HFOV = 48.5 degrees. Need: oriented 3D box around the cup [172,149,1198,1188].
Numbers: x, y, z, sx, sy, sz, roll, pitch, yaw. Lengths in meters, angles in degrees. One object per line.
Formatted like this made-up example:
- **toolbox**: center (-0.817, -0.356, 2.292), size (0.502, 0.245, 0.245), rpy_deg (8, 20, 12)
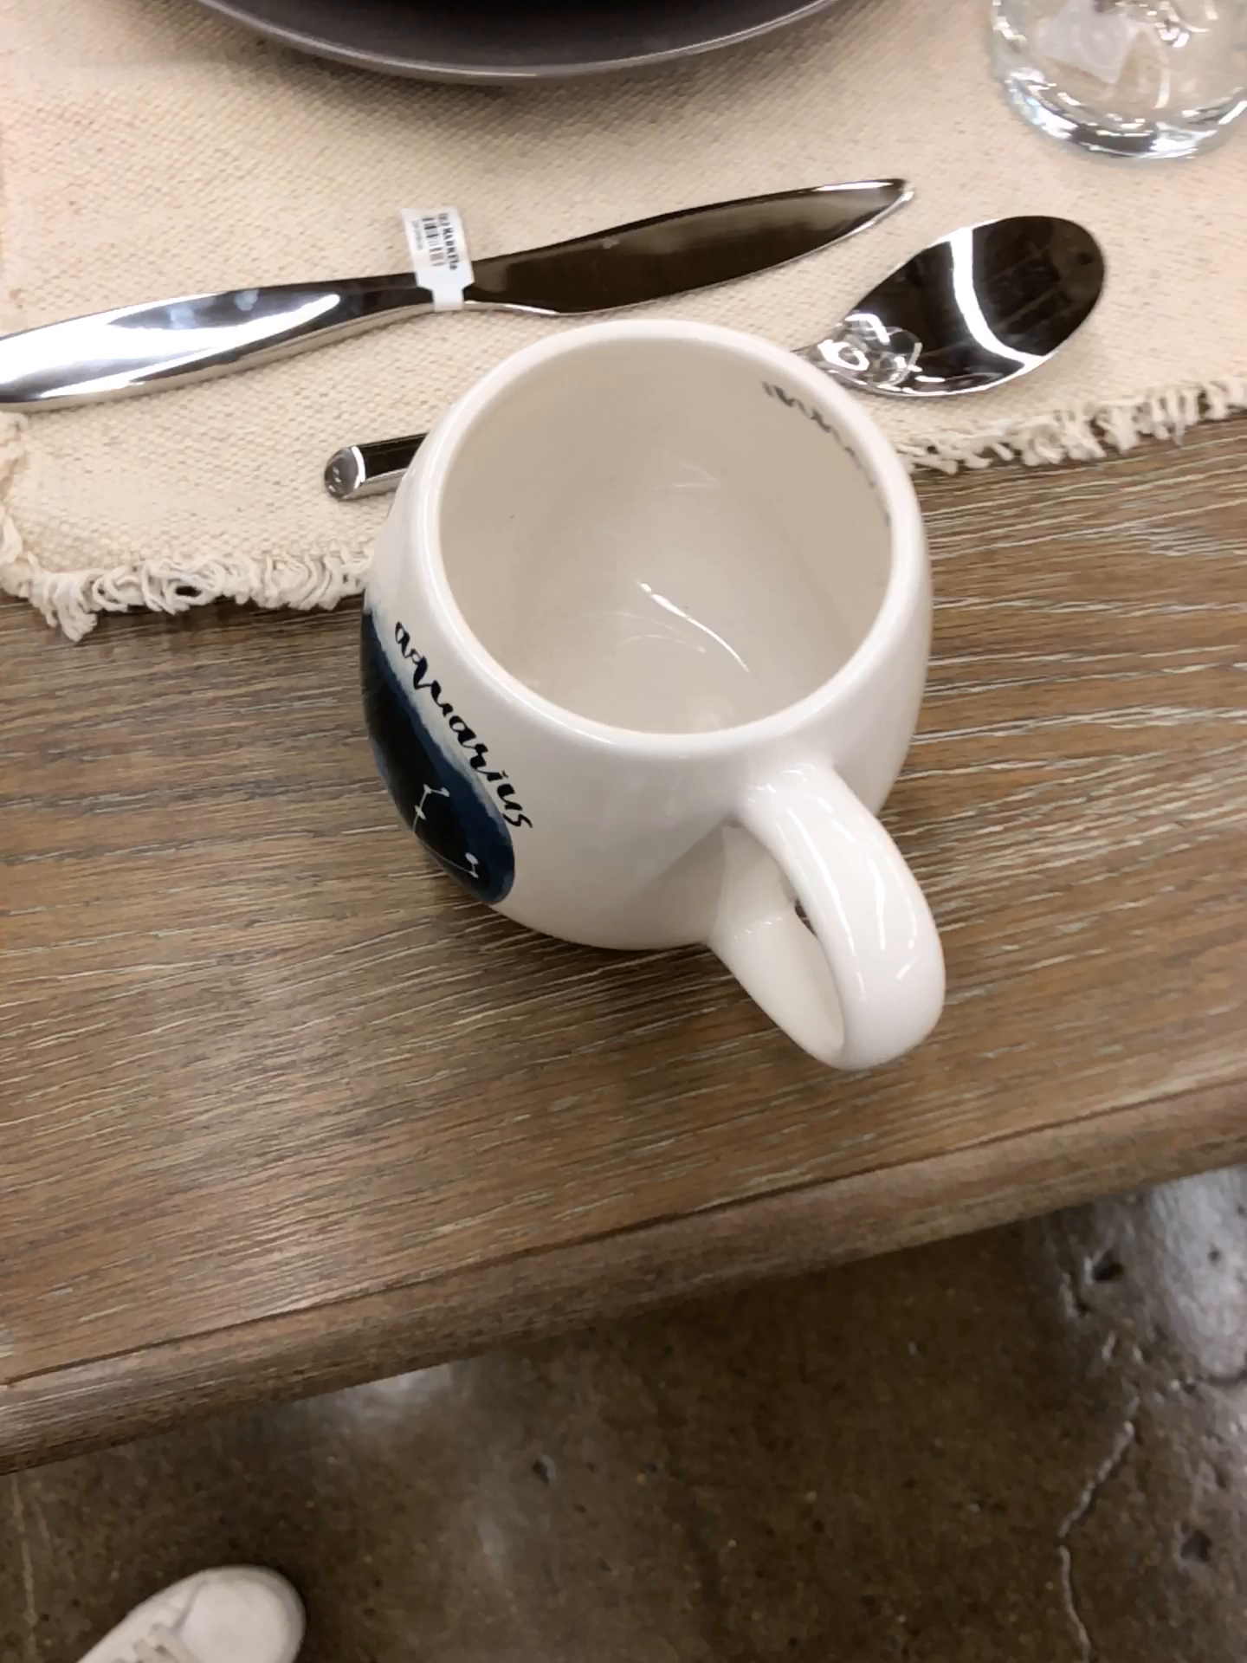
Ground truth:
- **cup**: center (0.004, -0.024, 0.237), size (0.082, 0.081, 0.134), rpy_deg (-35, 76, -14)
